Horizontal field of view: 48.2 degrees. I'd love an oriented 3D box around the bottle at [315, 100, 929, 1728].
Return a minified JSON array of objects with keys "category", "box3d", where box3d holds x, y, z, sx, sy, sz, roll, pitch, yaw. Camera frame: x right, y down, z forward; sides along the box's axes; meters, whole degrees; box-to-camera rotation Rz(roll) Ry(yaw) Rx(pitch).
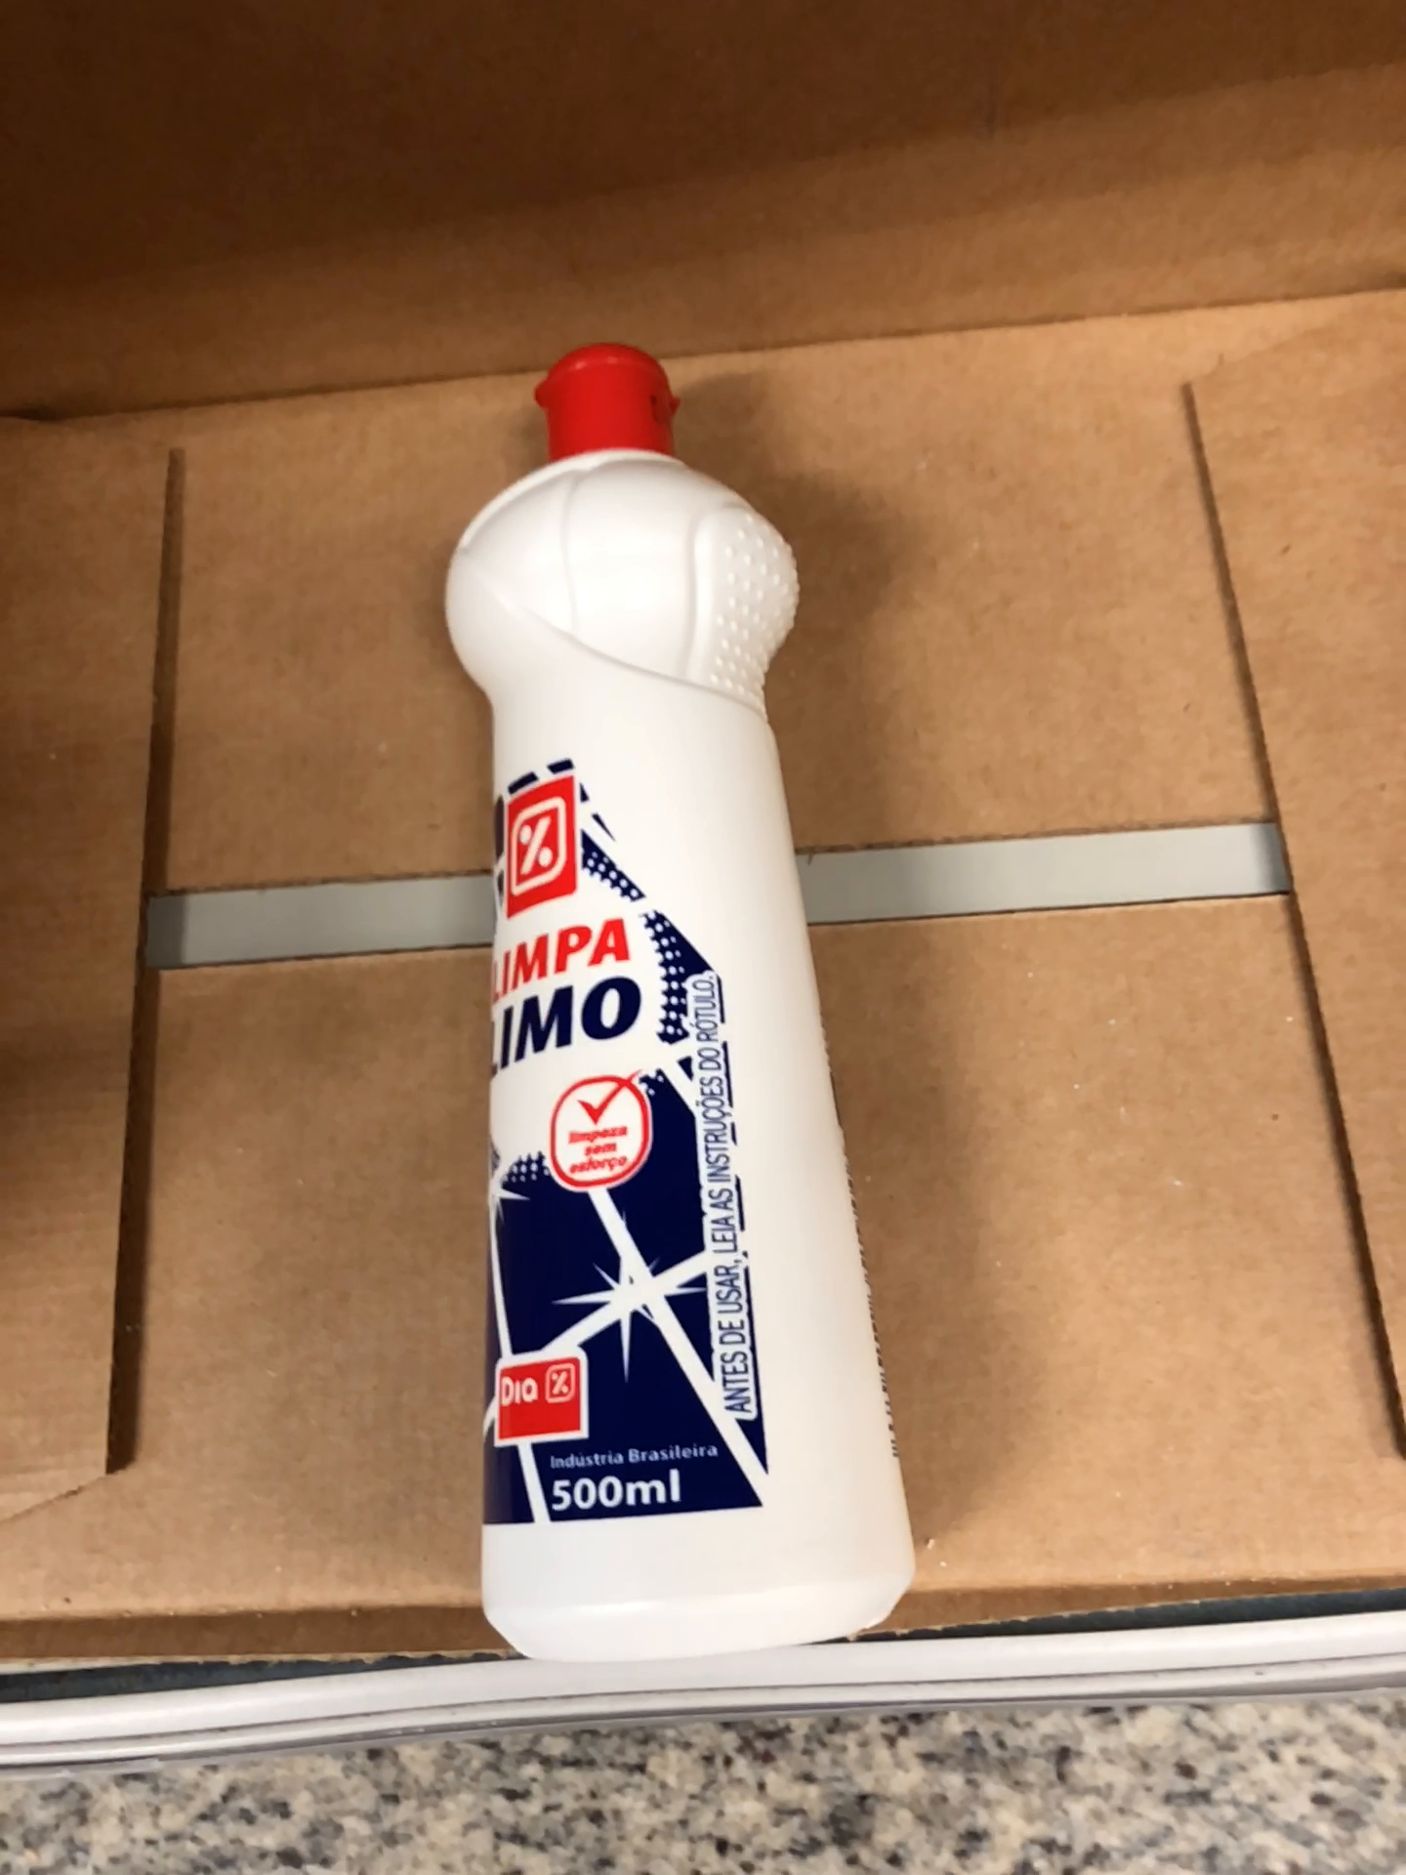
[{"category":"bottle","box3d":[-0.018,-0.014,0.274,0.080,0.060,0.260,-6,73,3]}]
